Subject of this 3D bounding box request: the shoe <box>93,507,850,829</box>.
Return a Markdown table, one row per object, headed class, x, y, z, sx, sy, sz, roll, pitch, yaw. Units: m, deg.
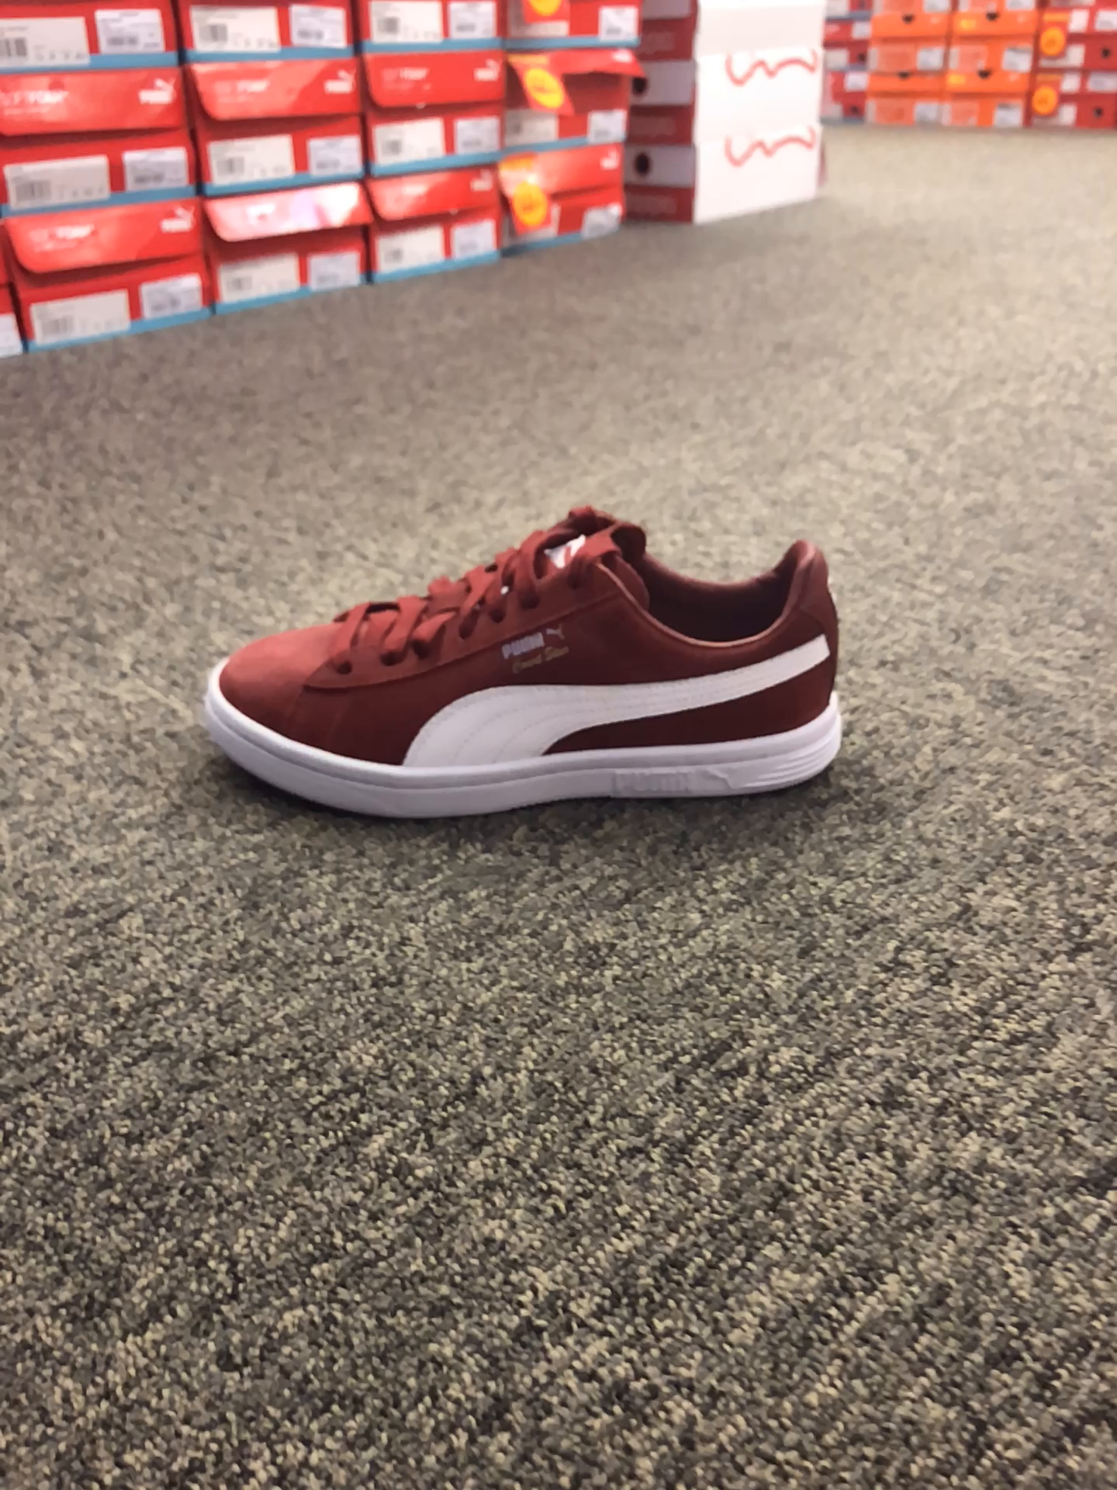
| class | x | y | z | sx | sy | sz | roll | pitch | yaw |
| --- | --- | --- | --- | --- | --- | --- | --- | --- | --- |
| shoe | -0.025 | -0.034 | 0.467 | 0.250 | 0.080 | 0.101 | 1 | 30 | 7 |
